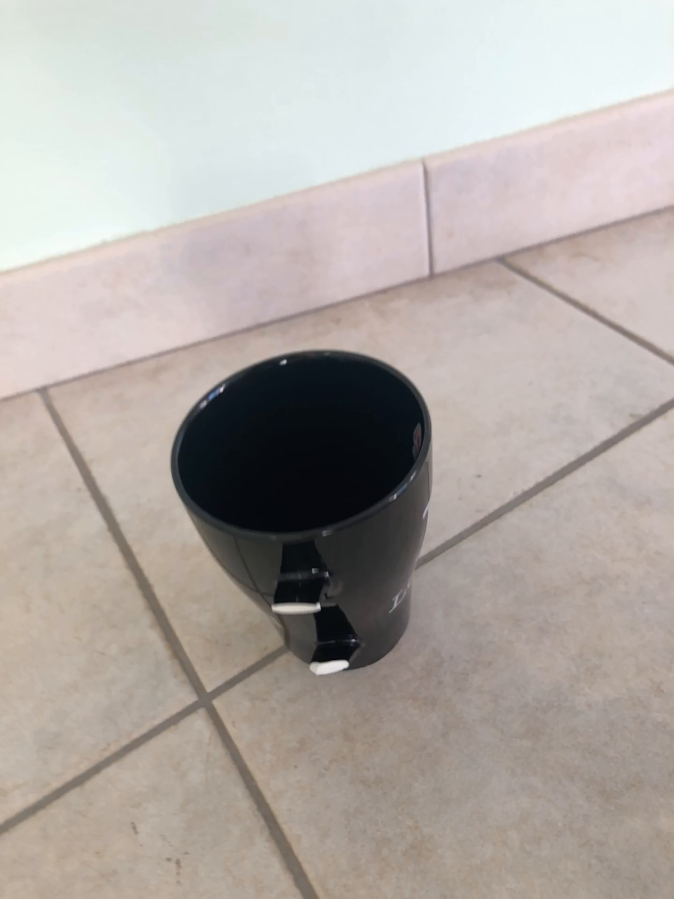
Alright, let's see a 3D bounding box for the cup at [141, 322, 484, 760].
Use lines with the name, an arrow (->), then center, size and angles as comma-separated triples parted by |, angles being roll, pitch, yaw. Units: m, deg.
cup -> -0.007, 0.034, 0.285 | 0.097, 0.103, 0.108 | -11, 45, 0
